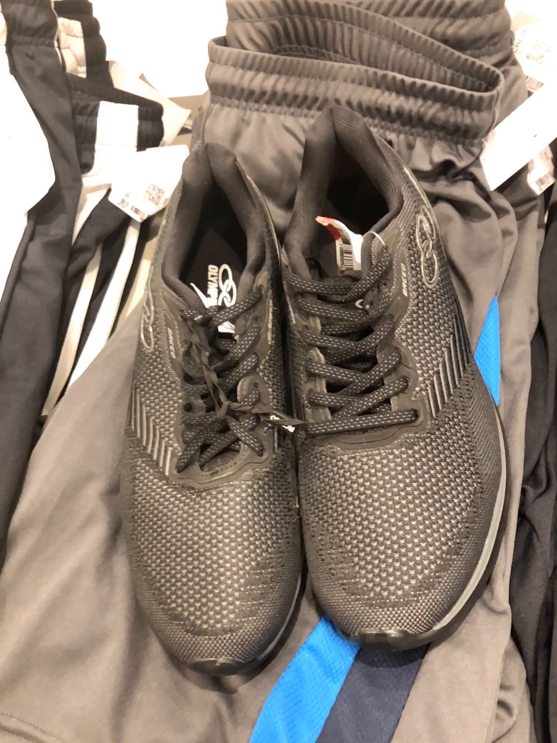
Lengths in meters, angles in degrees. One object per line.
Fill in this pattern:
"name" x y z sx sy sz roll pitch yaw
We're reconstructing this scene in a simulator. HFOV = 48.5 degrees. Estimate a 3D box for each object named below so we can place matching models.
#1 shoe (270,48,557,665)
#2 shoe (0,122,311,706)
"shoe" 0.059 -0.018 0.301 0.100 0.099 0.281 -6 58 11
"shoe" -0.043 0.012 0.314 0.100 0.099 0.271 -6 58 11
